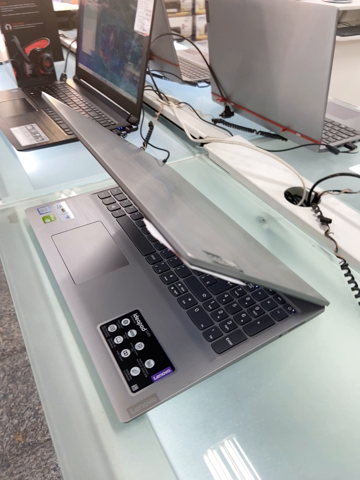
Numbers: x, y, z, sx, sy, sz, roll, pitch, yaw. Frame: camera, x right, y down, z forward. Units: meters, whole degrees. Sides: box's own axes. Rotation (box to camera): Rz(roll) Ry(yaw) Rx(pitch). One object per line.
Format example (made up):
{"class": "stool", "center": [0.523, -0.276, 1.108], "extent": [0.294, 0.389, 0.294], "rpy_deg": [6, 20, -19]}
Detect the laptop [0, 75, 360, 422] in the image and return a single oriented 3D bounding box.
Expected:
{"class": "laptop", "center": [-0.038, -0.046, 0.433], "extent": [0.246, 0.160, 0.363], "rpy_deg": [-21, 44, -24]}
